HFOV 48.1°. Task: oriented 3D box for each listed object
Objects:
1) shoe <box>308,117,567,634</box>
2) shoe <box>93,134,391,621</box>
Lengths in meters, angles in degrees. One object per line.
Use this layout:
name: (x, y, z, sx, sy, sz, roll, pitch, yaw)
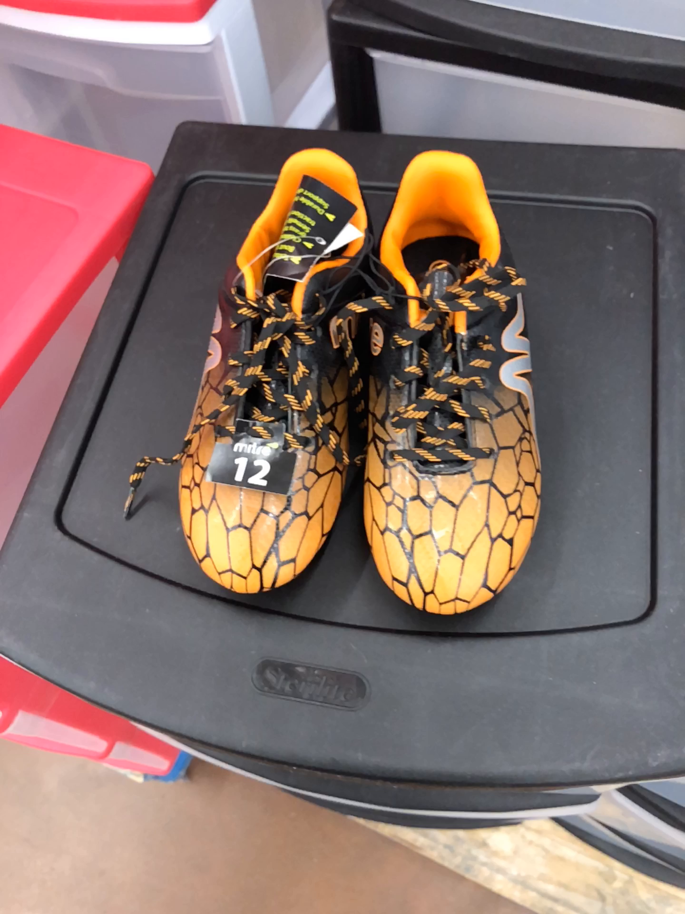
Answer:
shoe: (0.043, -0.039, 0.313, 0.080, 0.070, 0.200, 3, 64, 8)
shoe: (-0.030, -0.040, 0.341, 0.080, 0.080, 0.200, 4, 64, 9)
